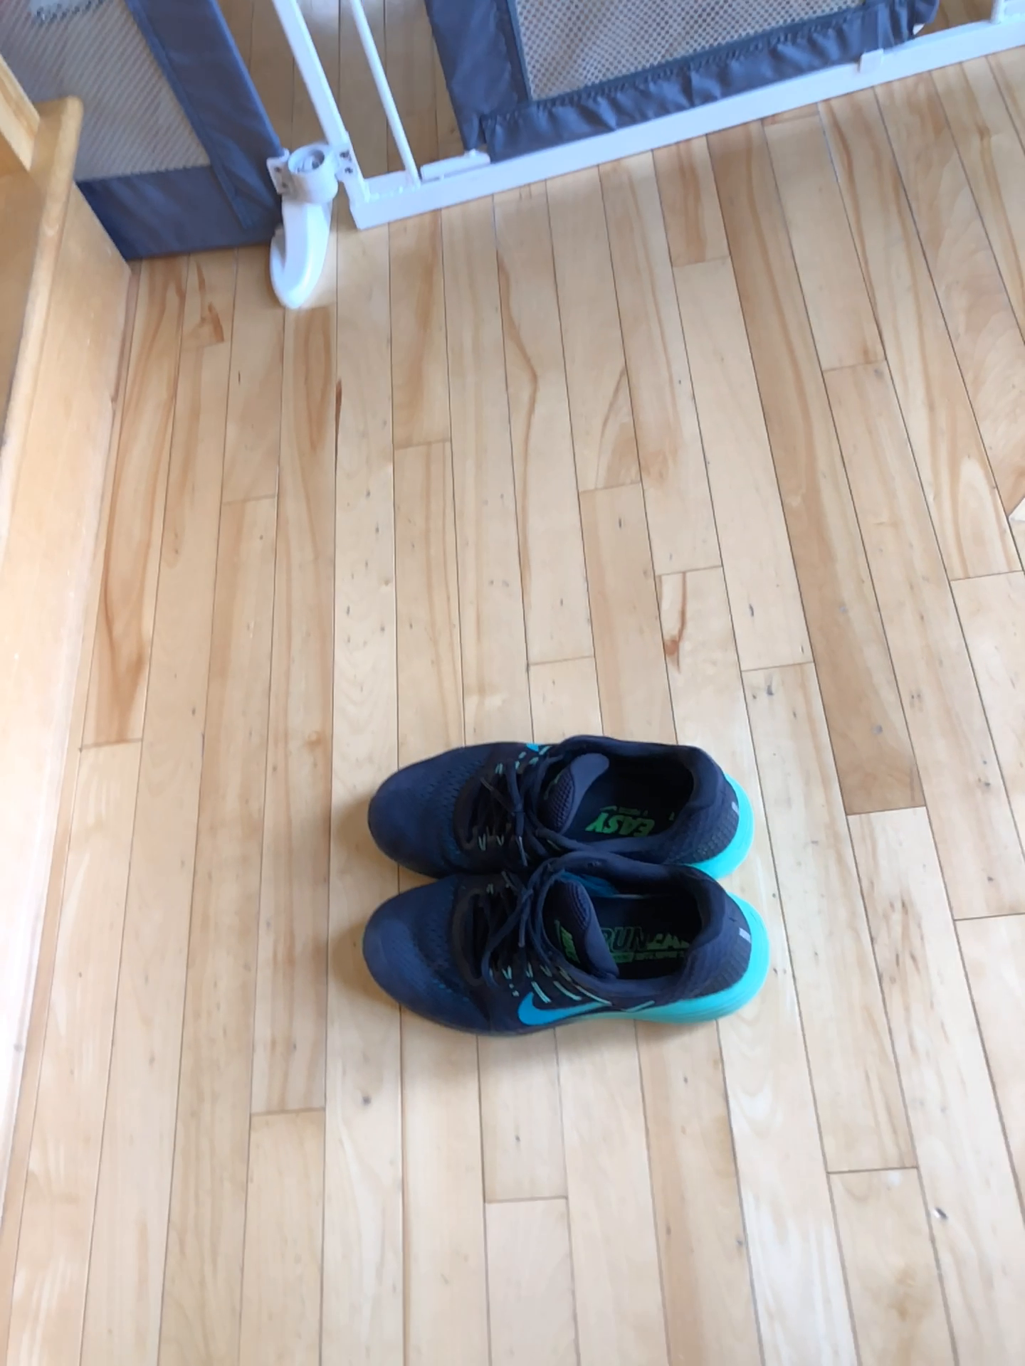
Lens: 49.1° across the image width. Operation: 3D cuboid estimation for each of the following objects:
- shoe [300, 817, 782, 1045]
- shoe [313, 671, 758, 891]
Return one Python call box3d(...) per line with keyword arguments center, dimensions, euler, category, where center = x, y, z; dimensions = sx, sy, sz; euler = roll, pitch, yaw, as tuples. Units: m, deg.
box3d(center=(0.023, 0.166, 0.736), dimensions=(0.290, 0.100, 0.120), euler=(-3, 63, 11), category="shoe")
box3d(center=(0.023, 0.069, 0.789), dimensions=(0.290, 0.100, 0.120), euler=(0, 64, 12), category="shoe")
